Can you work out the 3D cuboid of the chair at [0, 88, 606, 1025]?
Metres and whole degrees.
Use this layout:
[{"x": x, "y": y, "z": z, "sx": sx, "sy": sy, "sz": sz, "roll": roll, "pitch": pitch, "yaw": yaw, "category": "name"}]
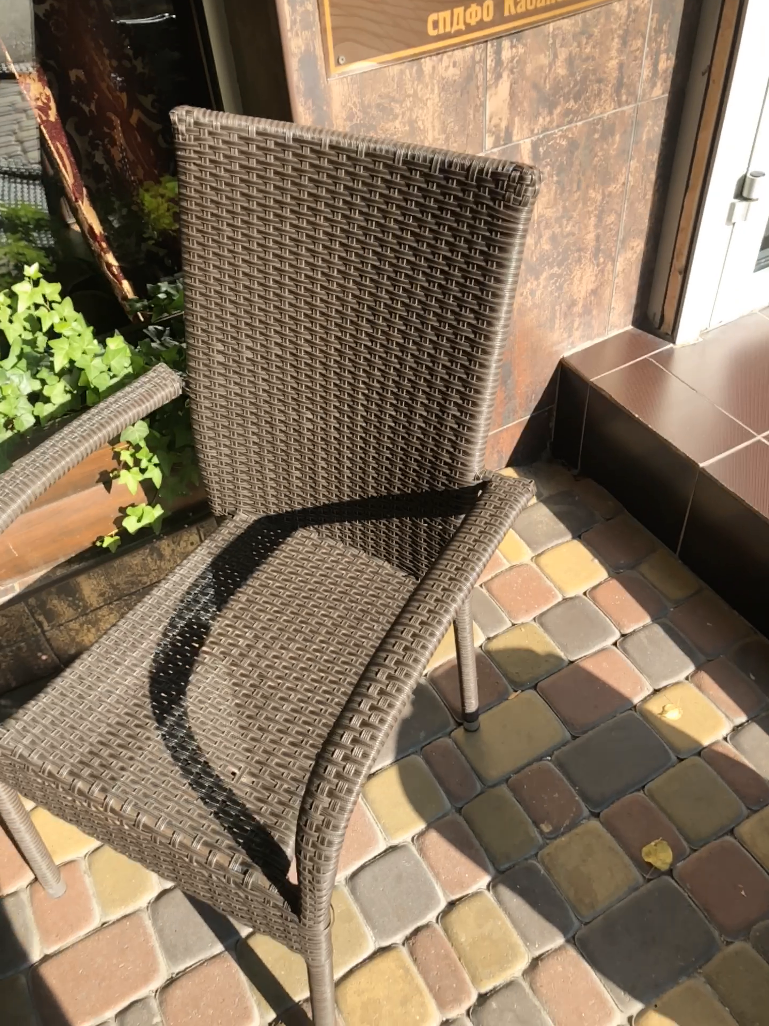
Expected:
[{"x": -0.151, "y": 0.101, "z": 0.943, "sx": 0.521, "sy": 0.846, "sz": 0.582, "roll": 19, "pitch": 50, "yaw": 22, "category": "chair"}]
